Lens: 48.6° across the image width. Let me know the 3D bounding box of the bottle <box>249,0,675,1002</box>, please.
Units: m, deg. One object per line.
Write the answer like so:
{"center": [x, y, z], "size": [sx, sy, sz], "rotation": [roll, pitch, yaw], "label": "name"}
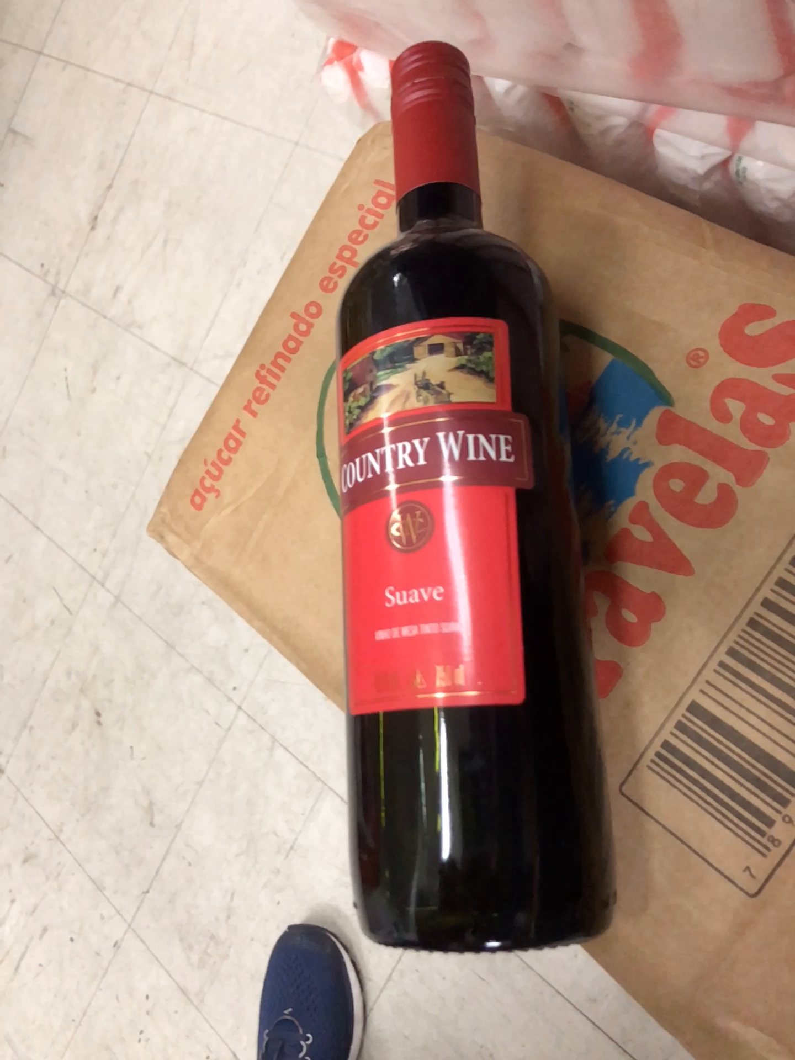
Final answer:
{"center": [0.014, -0.028, 0.267], "size": [0.080, 0.060, 0.290], "rotation": [-12, 76, 30], "label": "bottle"}
